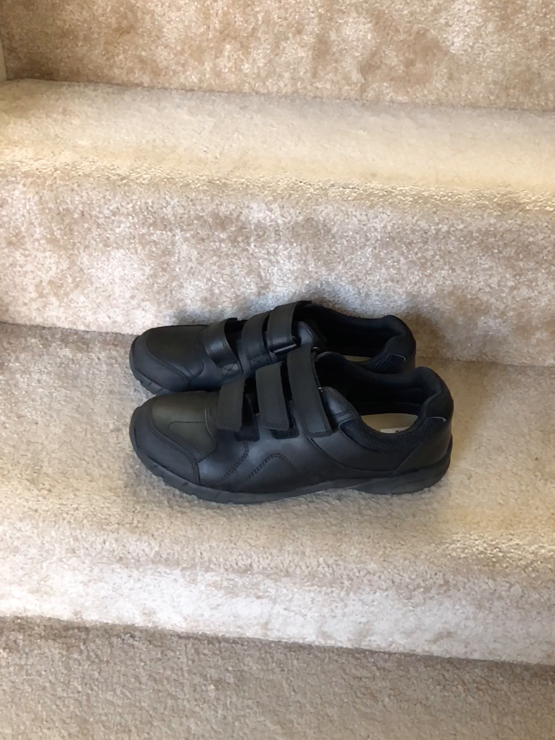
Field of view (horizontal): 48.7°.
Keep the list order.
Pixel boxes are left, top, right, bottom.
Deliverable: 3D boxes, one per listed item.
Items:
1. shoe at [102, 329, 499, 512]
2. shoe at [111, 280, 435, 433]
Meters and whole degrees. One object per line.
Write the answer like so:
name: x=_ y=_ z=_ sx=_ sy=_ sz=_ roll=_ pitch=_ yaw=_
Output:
shoe: x=0.015 y=0.040 z=0.486 sx=0.270 sy=0.099 sz=0.101 roll=1 pitch=40 yaw=-2
shoe: x=-0.005 y=-0.013 z=0.581 sx=0.270 sy=0.099 sz=0.101 roll=1 pitch=40 yaw=-2
